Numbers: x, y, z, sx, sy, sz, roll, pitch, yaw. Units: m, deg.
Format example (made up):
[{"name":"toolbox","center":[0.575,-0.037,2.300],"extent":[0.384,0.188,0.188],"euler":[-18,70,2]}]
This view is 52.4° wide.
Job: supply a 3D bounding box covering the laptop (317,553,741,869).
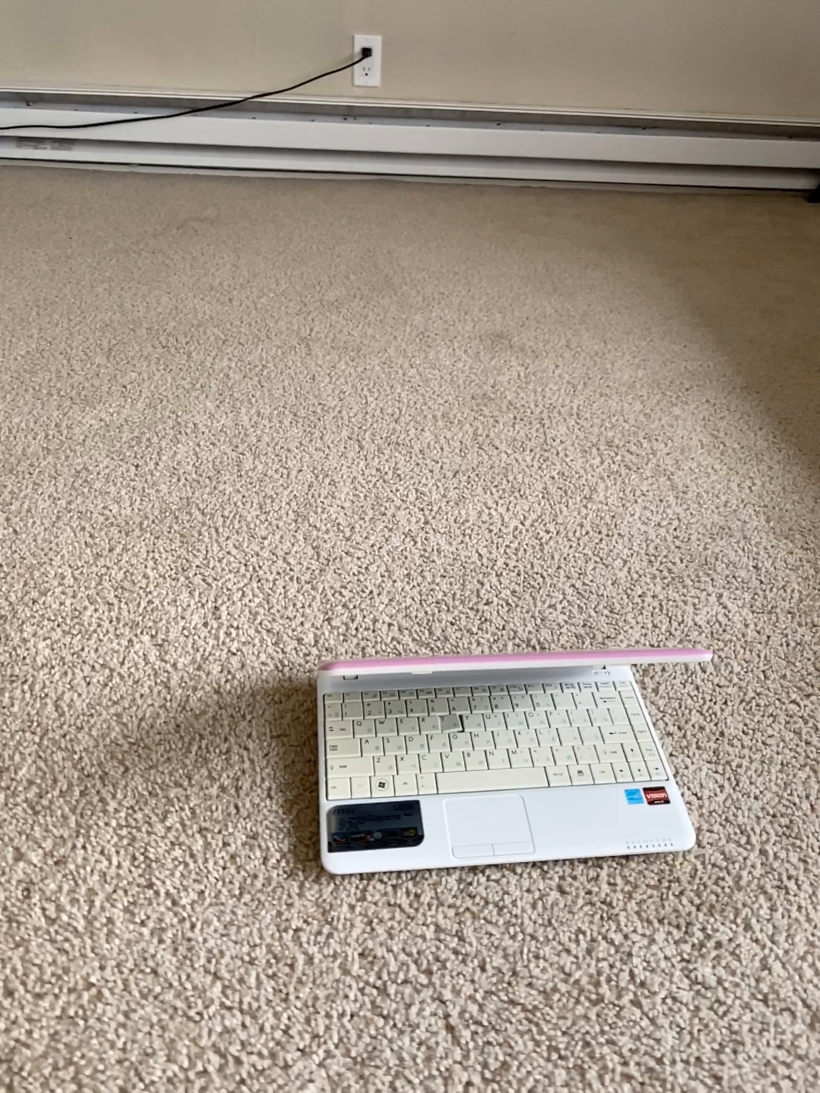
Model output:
[{"name":"laptop","center":[0.074,0.123,0.671],"extent":[0.290,0.125,0.194],"euler":[-1,40,-7]}]
